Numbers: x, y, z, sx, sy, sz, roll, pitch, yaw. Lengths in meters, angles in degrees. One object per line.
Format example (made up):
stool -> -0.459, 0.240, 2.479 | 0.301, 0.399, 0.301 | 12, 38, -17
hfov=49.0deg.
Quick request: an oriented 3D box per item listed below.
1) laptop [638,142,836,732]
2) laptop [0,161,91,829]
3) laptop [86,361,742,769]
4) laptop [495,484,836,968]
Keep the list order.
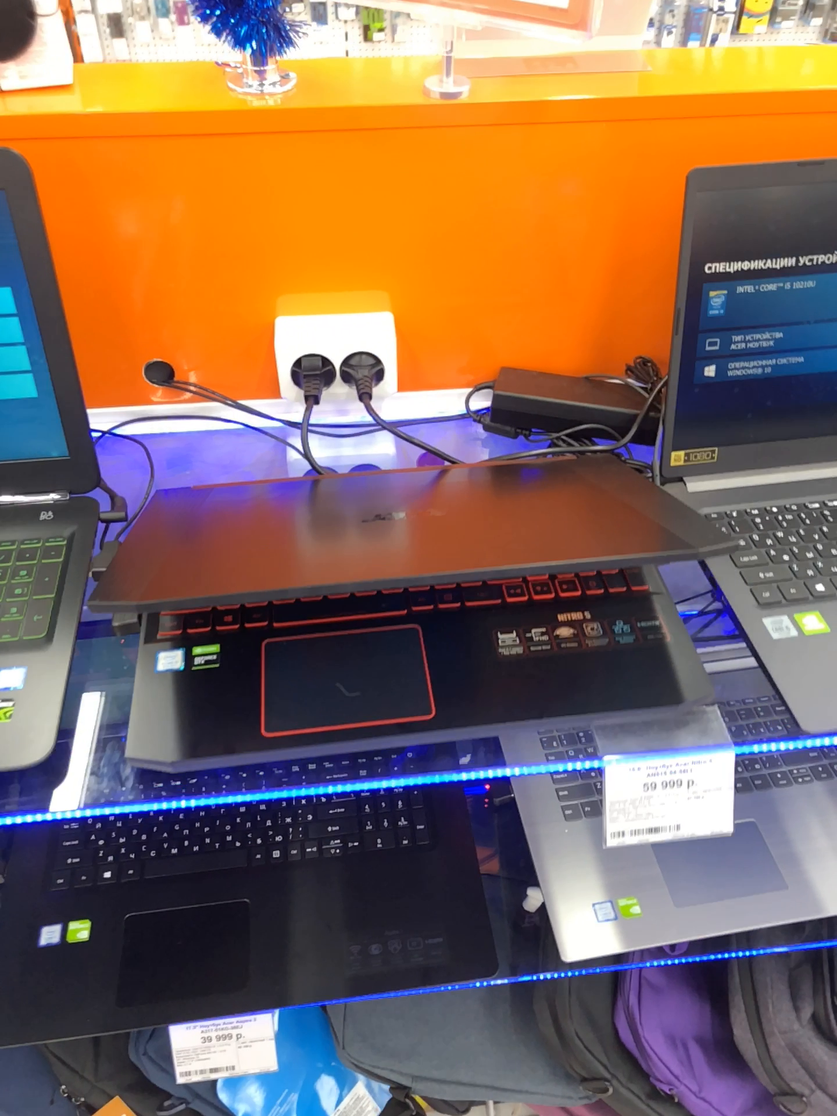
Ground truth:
laptop -> 0.387, -0.098, 0.618 | 0.342, 0.226, 0.314 | -6, 43, -6
laptop -> -0.451, -0.054, 0.562 | 0.414, 0.250, 0.311 | -5, 42, -5
laptop -> -0.012, -0.012, 0.622 | 0.358, 0.103, 0.249 | -5, 43, -6
laptop -> 0.298, 0.135, 0.820 | 0.404, 0.220, 0.298 | -6, 42, -5
